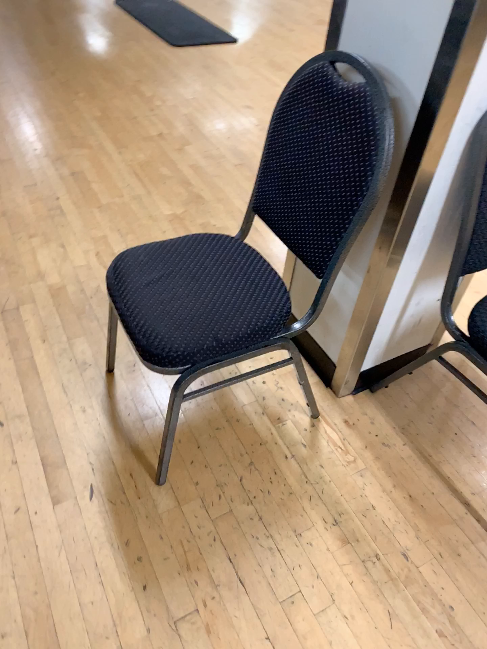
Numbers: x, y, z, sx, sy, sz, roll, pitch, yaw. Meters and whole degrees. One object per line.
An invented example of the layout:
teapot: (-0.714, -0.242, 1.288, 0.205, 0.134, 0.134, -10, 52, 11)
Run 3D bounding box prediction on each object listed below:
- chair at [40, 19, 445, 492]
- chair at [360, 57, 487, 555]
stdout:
chair: (-0.053, -0.128, 1.171, 0.554, 0.921, 0.463, -17, 49, -22)
chair: (0.729, -0.009, 1.127, 0.462, 0.921, 0.555, -16, 48, -21)
